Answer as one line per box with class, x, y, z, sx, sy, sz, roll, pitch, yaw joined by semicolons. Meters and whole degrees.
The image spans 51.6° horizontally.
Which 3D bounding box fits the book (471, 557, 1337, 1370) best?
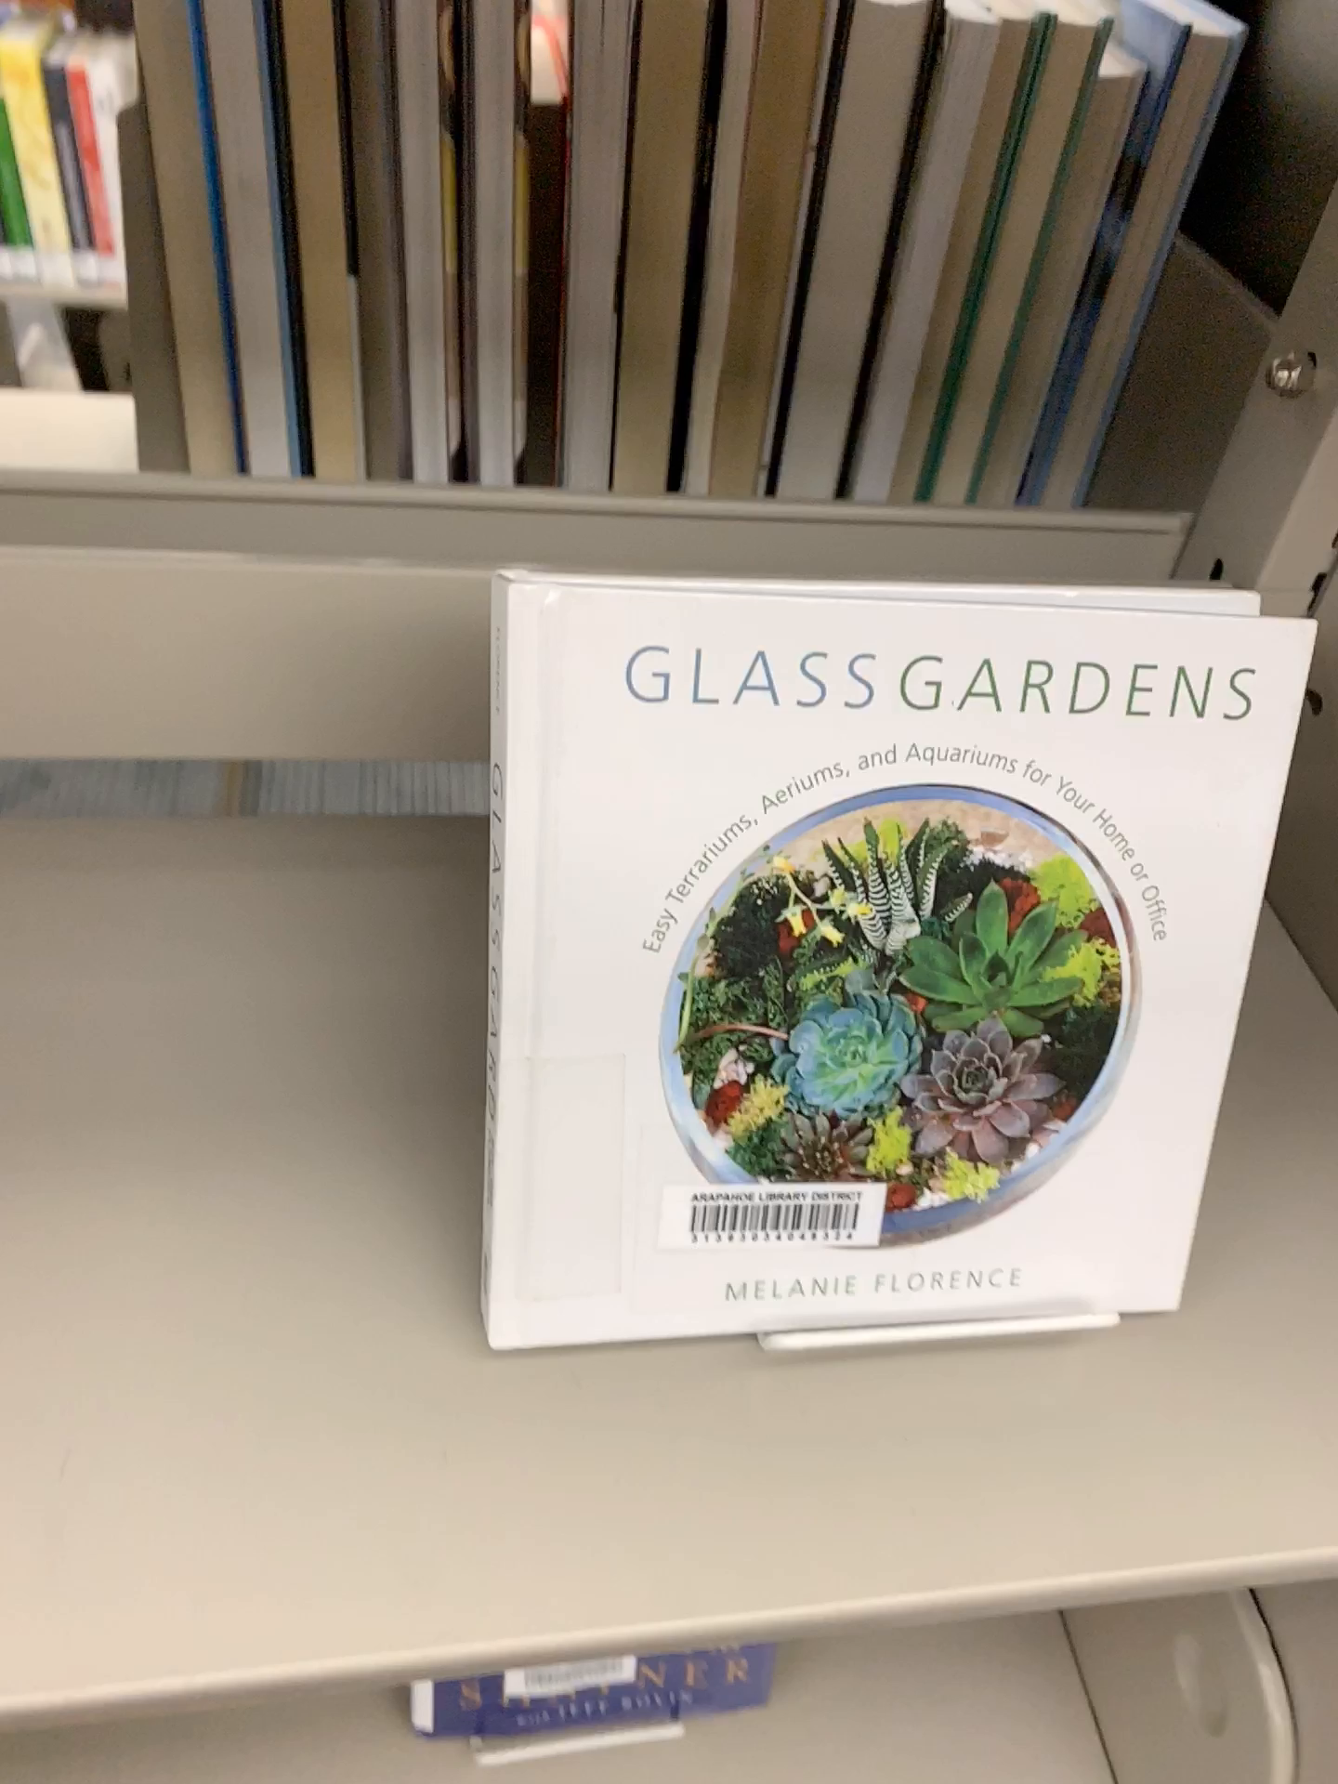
book;0.048;0.020;0.310;0.180;0.174;0.030;0;19;-10
